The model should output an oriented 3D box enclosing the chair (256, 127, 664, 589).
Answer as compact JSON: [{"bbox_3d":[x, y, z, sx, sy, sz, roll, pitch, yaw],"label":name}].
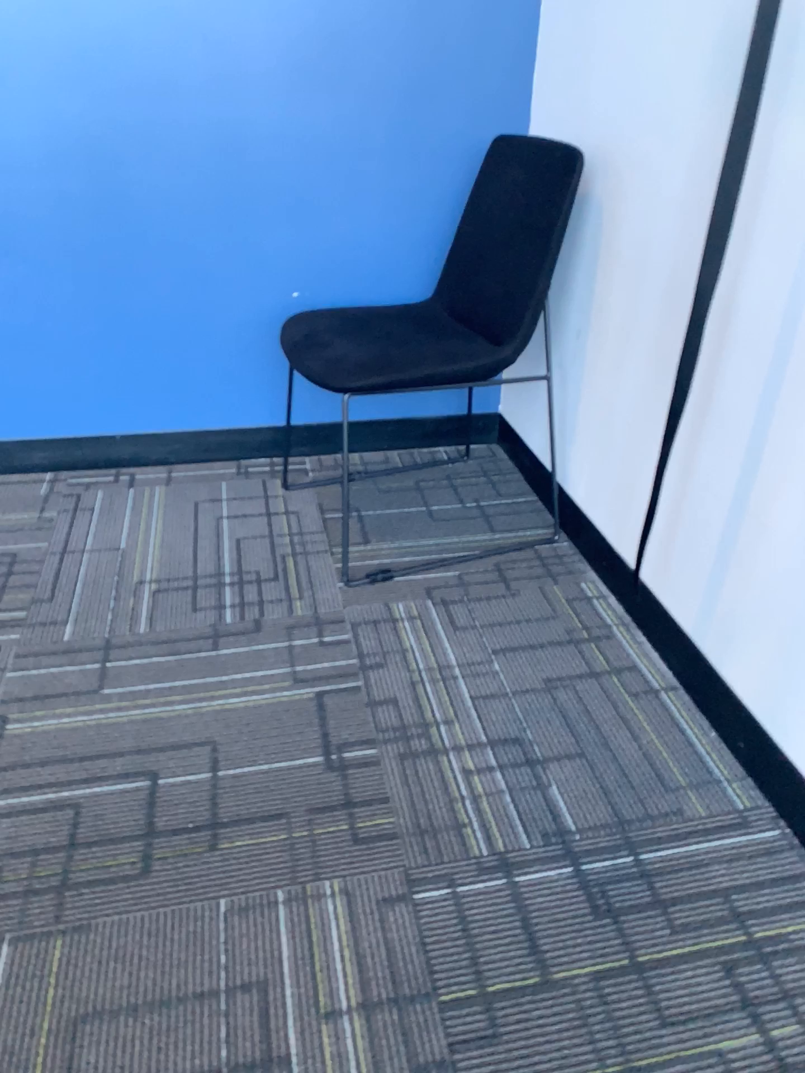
[{"bbox_3d":[0.067,-0.395,1.662,0.580,0.755,0.503,-10,33,-20],"label":"chair"}]
